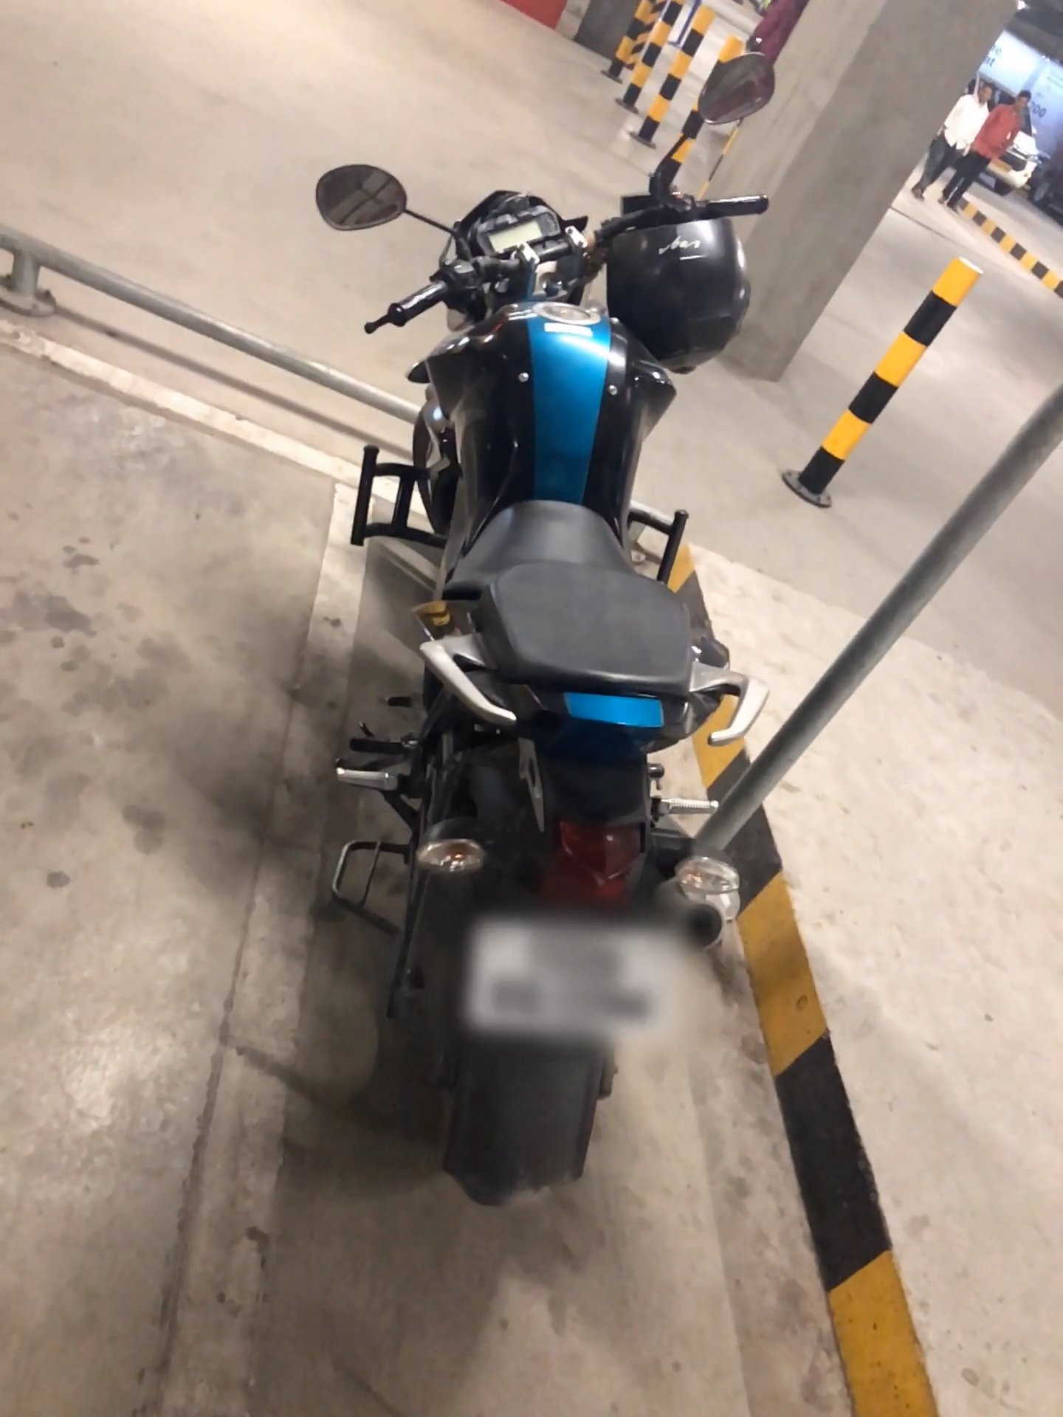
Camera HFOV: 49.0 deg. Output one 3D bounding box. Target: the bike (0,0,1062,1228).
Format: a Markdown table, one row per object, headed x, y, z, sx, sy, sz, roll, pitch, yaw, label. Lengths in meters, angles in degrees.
| x | y | z | sx | sy | sz | roll | pitch | yaw | label |
| --- | --- | --- | --- | --- | --- | --- | --- | --- | --- |
| -0.121 | -0.255 | 1.641 | 0.766 | 0.951 | 1.421 | 17 | 36 | -22 | bike |
